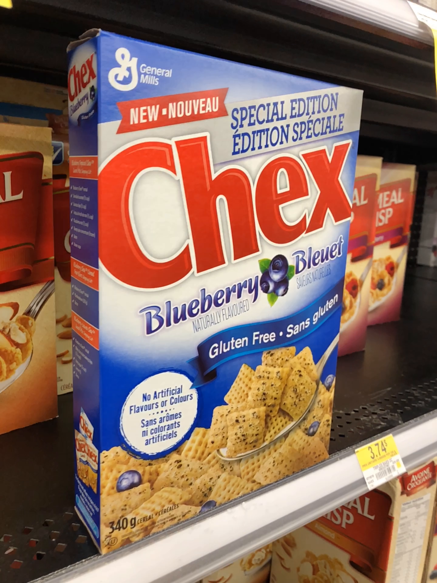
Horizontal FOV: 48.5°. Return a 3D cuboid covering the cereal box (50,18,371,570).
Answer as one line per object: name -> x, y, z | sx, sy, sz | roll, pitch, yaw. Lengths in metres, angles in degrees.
cereal box -> 0.000, 0.002, 0.329 | 0.200, 0.289, 0.060 | -6, 14, -35
